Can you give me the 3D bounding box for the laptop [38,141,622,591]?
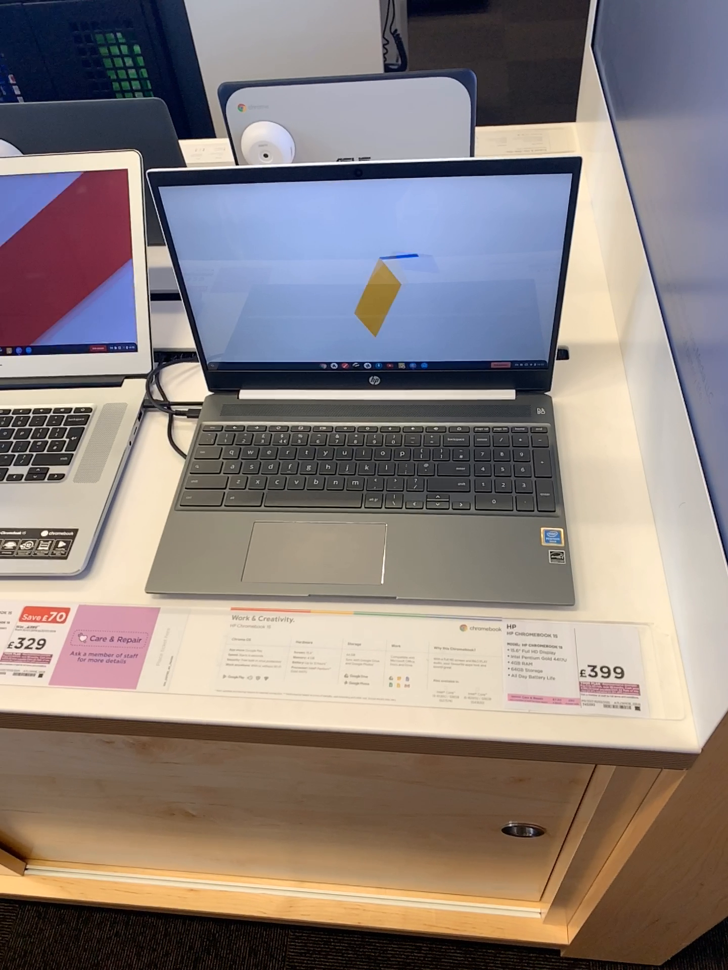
[{"bbox_3d":[-0.009,-0.095,0.610,0.351,0.228,0.265,1,51,7],"label":"laptop"}]
